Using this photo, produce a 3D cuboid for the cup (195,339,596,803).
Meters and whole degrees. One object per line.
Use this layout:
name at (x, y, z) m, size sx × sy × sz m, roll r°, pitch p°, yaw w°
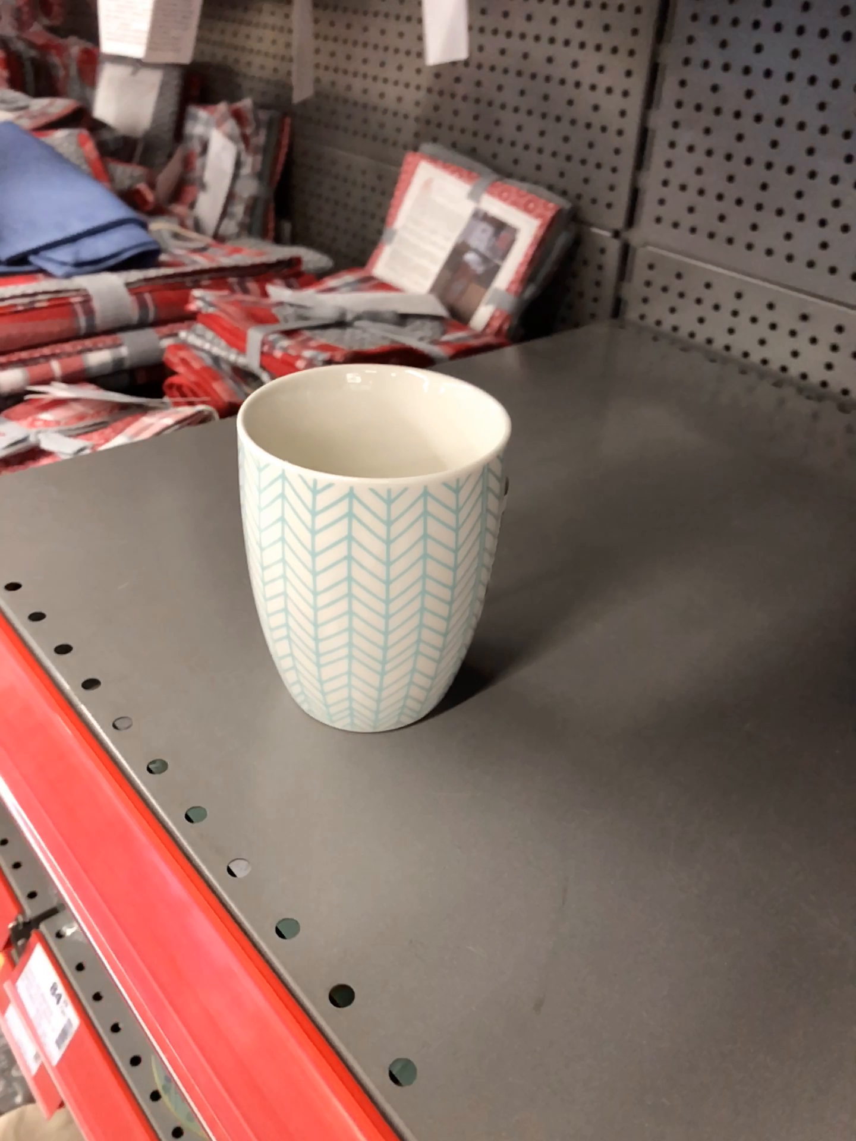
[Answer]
cup at (-0.018, -0.008, 0.329) m, size 0.093 × 0.096 × 0.120 m, roll -11°, pitch 37°, yaw -19°
